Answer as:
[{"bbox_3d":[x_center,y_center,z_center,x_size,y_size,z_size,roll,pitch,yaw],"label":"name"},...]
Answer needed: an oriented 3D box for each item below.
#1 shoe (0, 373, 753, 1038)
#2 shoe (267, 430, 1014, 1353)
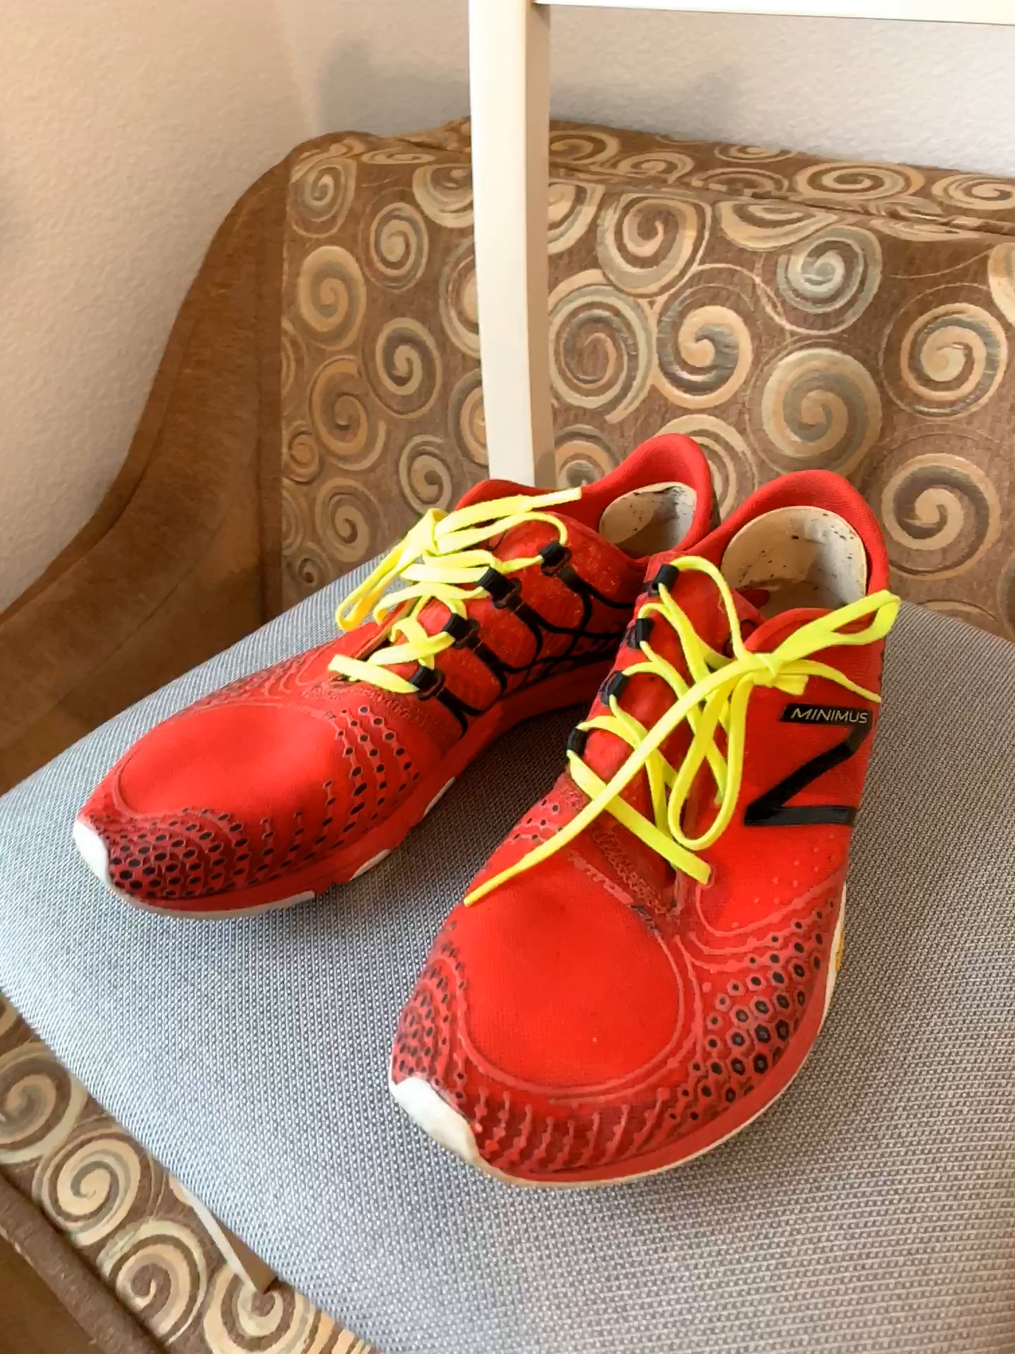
[{"bbox_3d":[-0.041,-0.005,0.396,0.260,0.090,0.110,-33,49,-22],"label":"shoe"},{"bbox_3d":[0.063,0.039,0.326,0.110,0.090,0.261,19,51,26],"label":"shoe"}]
